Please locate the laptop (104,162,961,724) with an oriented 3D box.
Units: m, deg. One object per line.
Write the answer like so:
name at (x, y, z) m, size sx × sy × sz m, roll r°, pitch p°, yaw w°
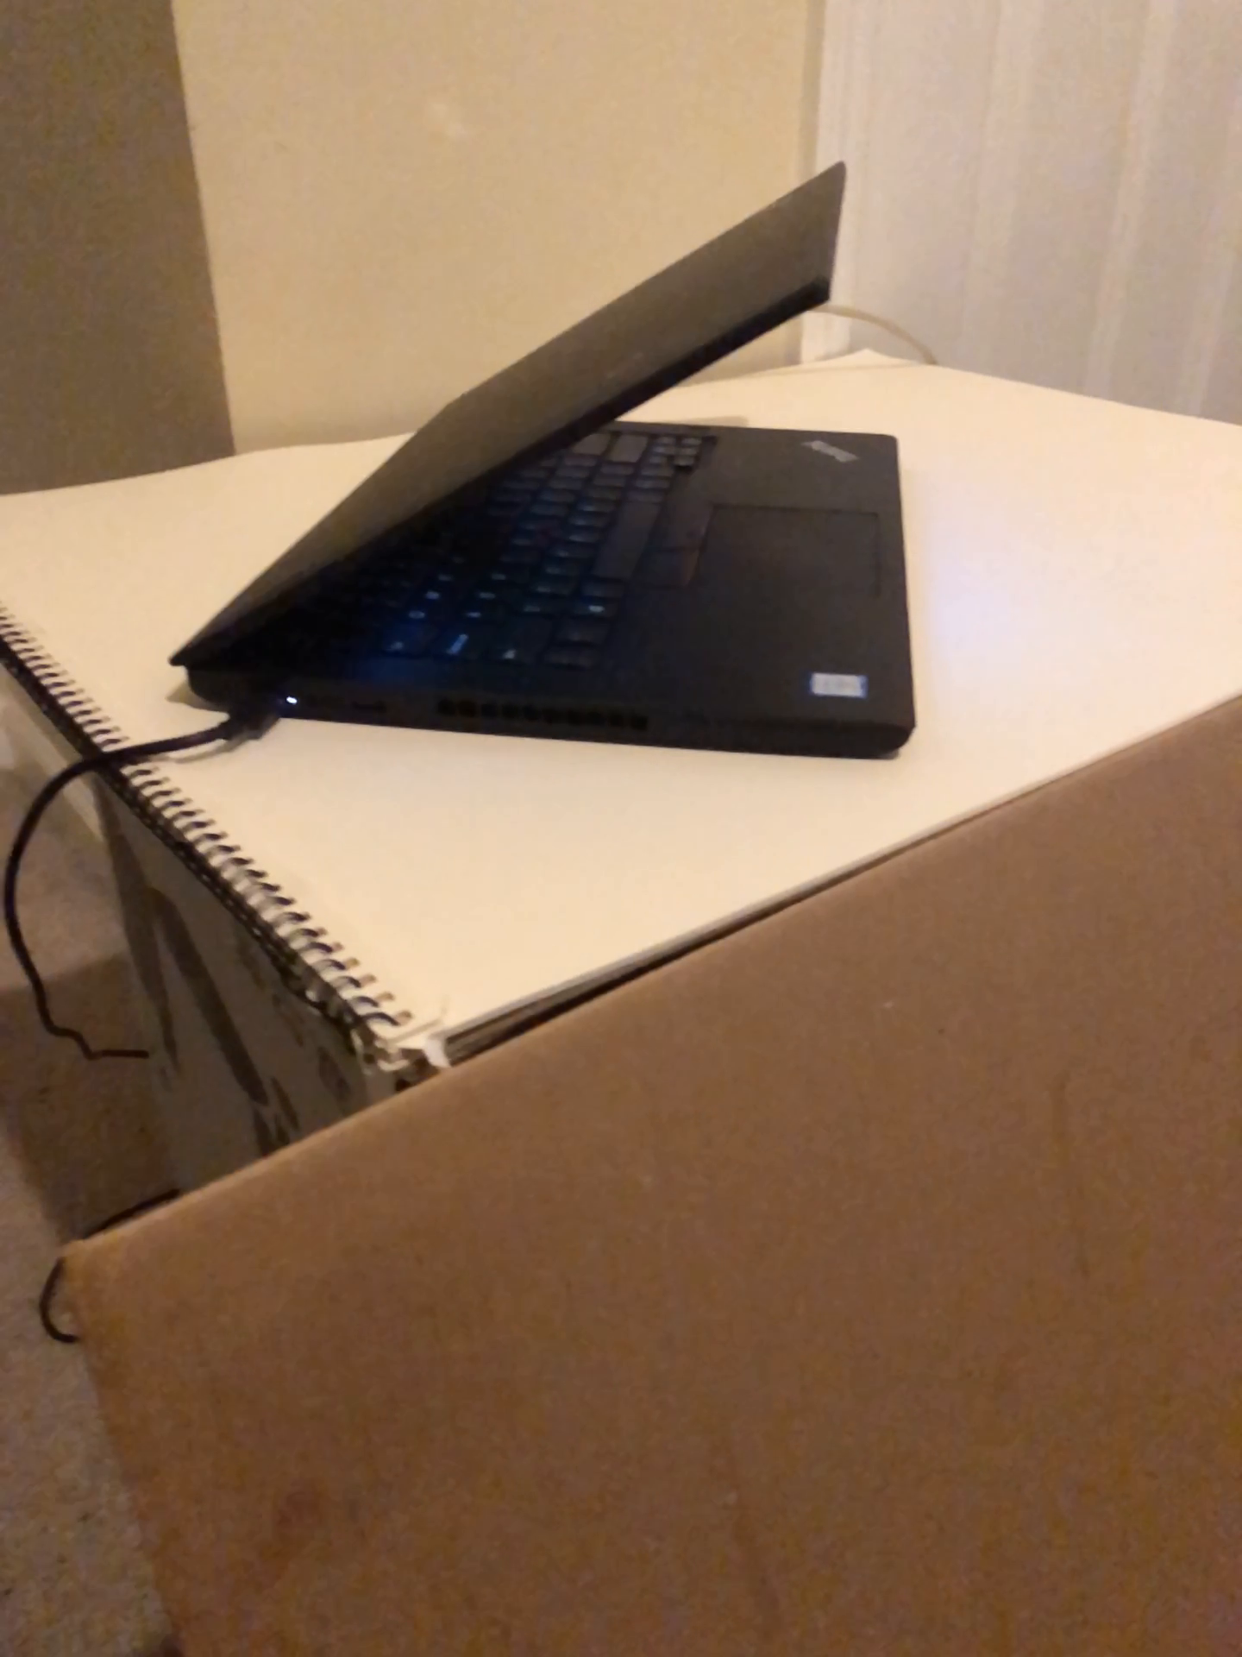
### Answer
laptop at (-0.003, -0.171, 0.516) m, size 0.226 × 0.115 × 0.319 m, roll 5°, pitch 31°, yaw 8°
